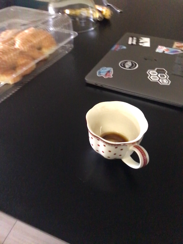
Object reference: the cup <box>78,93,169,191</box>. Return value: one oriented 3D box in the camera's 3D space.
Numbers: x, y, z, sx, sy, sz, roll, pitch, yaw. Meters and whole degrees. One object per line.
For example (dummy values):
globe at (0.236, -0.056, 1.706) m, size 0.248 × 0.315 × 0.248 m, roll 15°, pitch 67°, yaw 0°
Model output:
cup at (0.038, 0.023, 0.307) m, size 0.090 × 0.069 × 0.121 m, roll -11°, pitch 44°, yaw -13°
